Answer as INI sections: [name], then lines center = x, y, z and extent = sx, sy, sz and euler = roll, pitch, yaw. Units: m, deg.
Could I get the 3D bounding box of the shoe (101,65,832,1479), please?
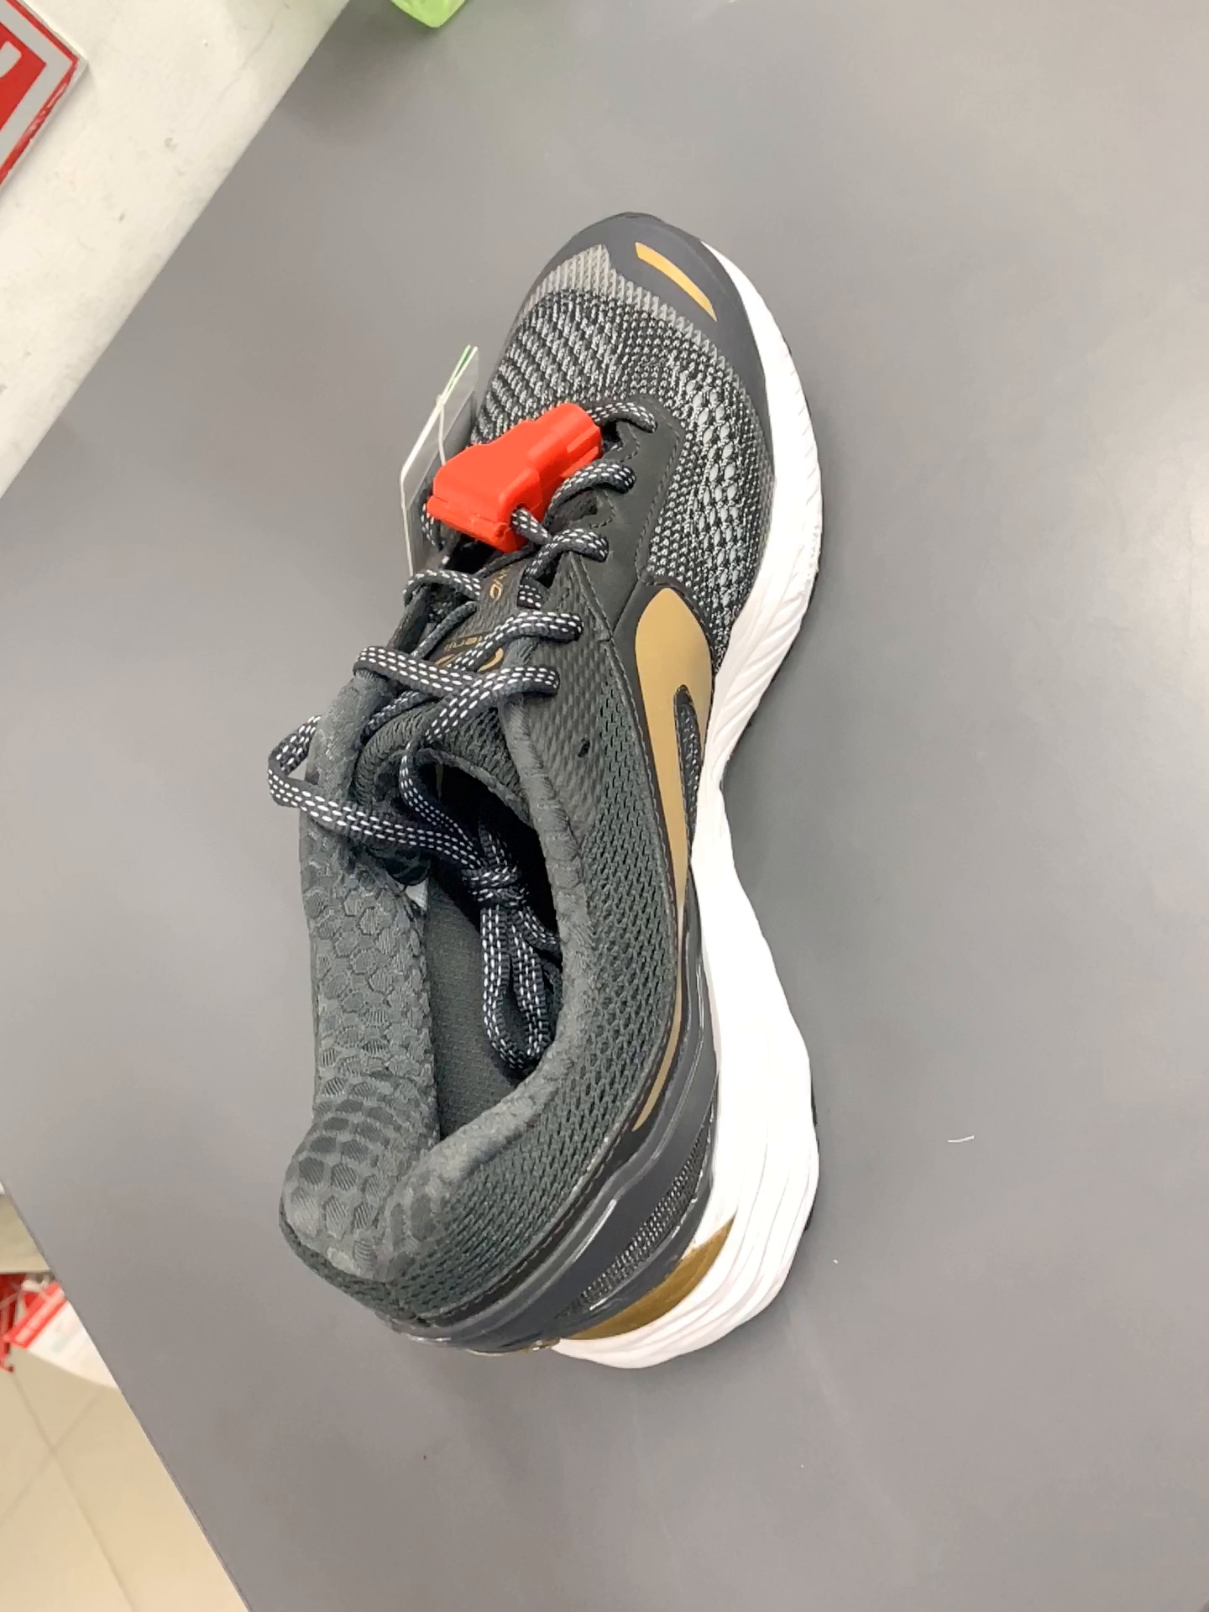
[shoe]
center = -0.014, -0.008, 0.262
extent = 0.100, 0.090, 0.240
euler = -6, 71, 27
